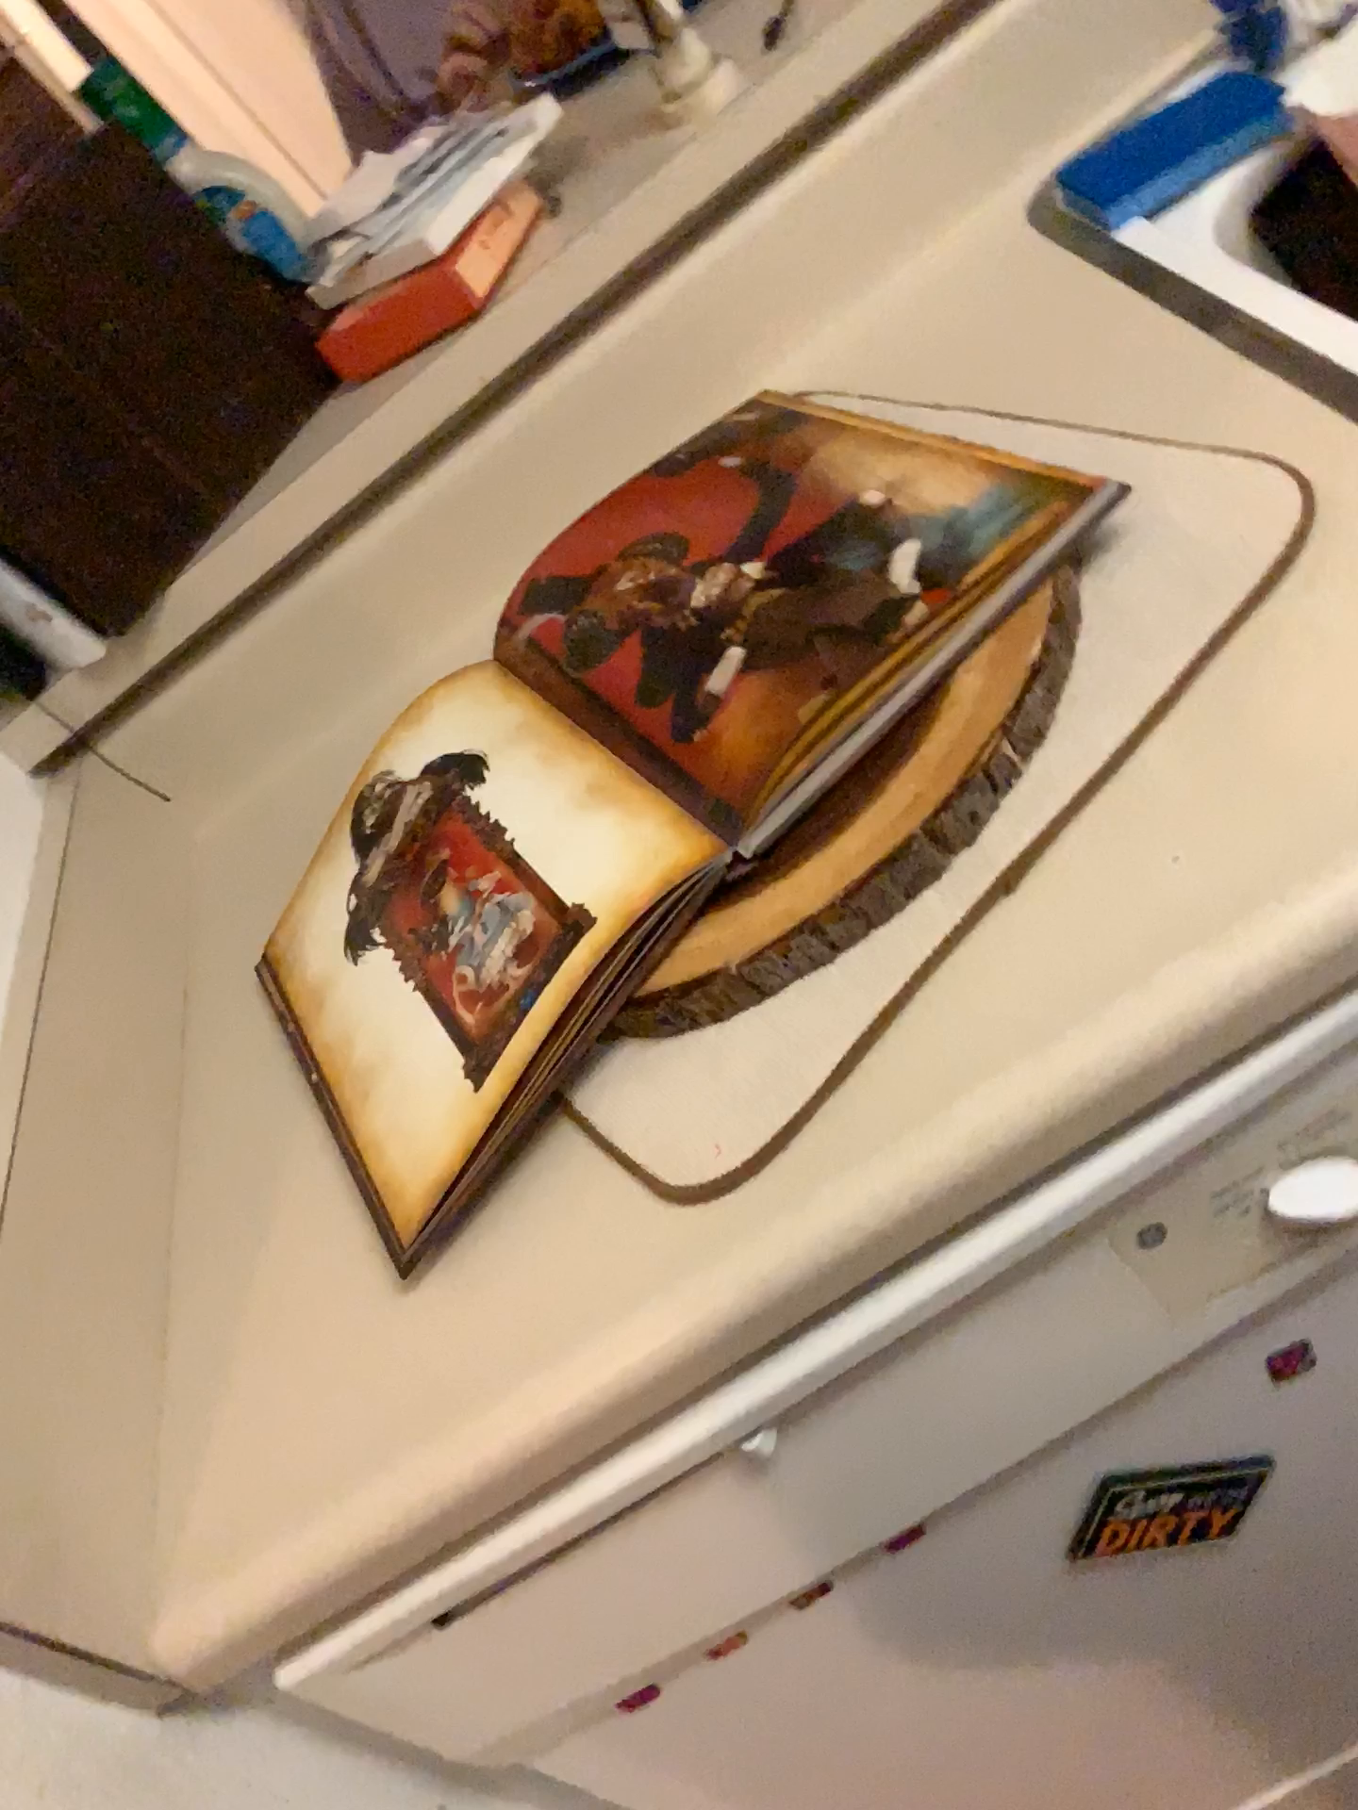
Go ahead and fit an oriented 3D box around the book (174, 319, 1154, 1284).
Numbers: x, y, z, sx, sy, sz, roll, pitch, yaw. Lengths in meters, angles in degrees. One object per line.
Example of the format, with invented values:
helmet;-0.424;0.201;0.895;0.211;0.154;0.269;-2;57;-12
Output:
book;-0.047;-0.093;0.755;0.470;0.040;0.340;-47;36;-1
